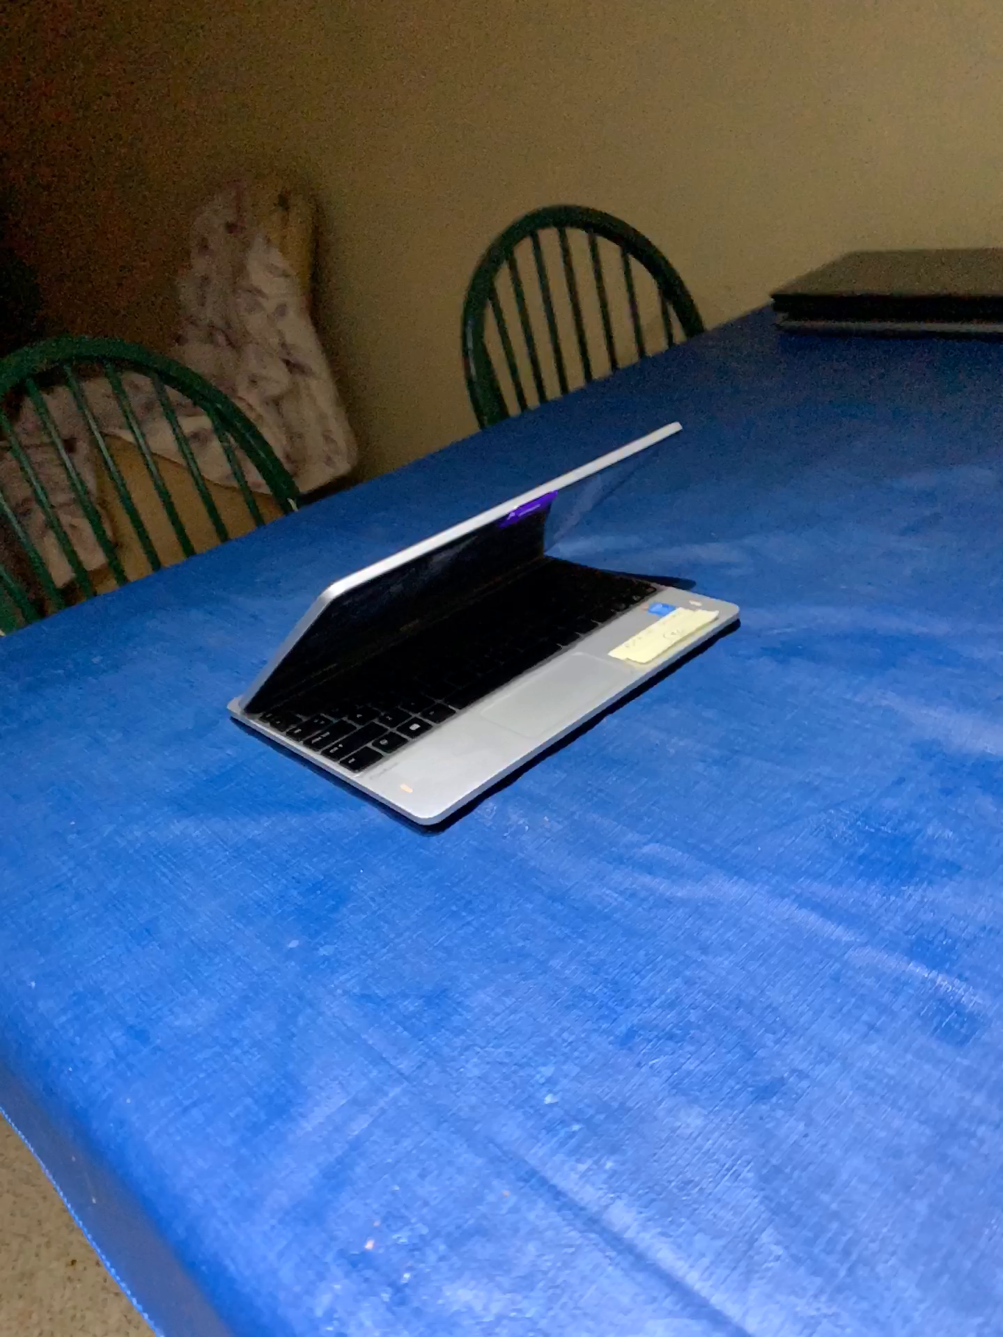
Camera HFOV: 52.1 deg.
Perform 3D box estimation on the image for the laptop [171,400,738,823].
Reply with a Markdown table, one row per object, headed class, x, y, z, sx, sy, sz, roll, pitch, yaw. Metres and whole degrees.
| class | x | y | z | sx | sy | sz | roll | pitch | yaw |
| --- | --- | --- | --- | --- | --- | --- | --- | --- | --- |
| laptop | -0.021 | -0.061 | 0.646 | 0.280 | 0.122 | 0.208 | -30 | 34 | -33 |
